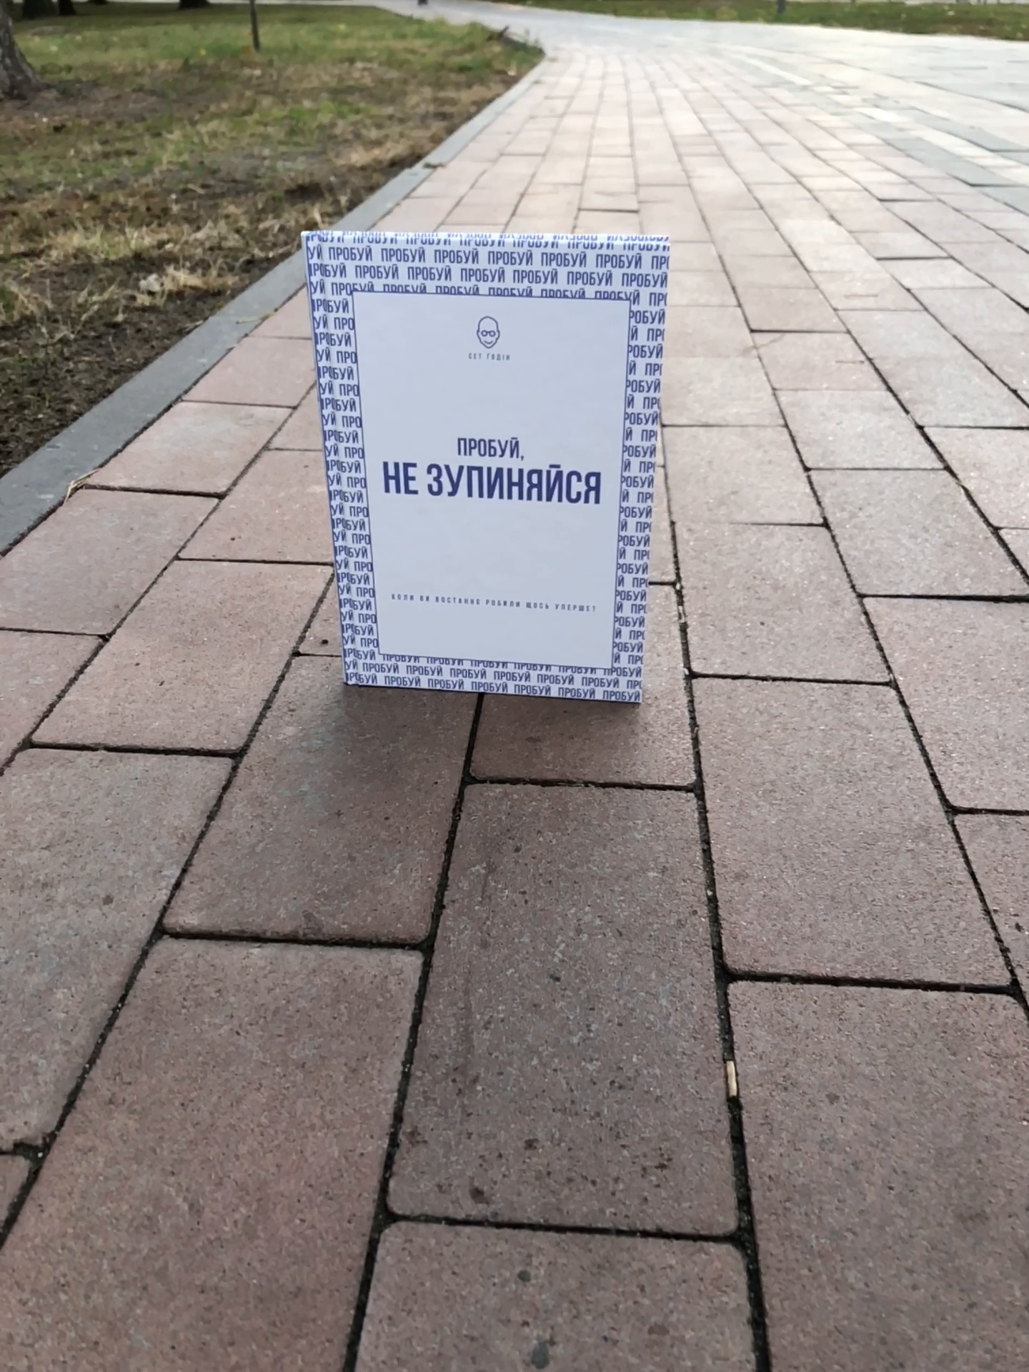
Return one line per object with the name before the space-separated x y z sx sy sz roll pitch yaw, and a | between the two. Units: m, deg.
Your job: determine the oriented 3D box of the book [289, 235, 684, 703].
book | -0.010 -0.087 0.486 0.151 0.196 0.023 3 30 5
